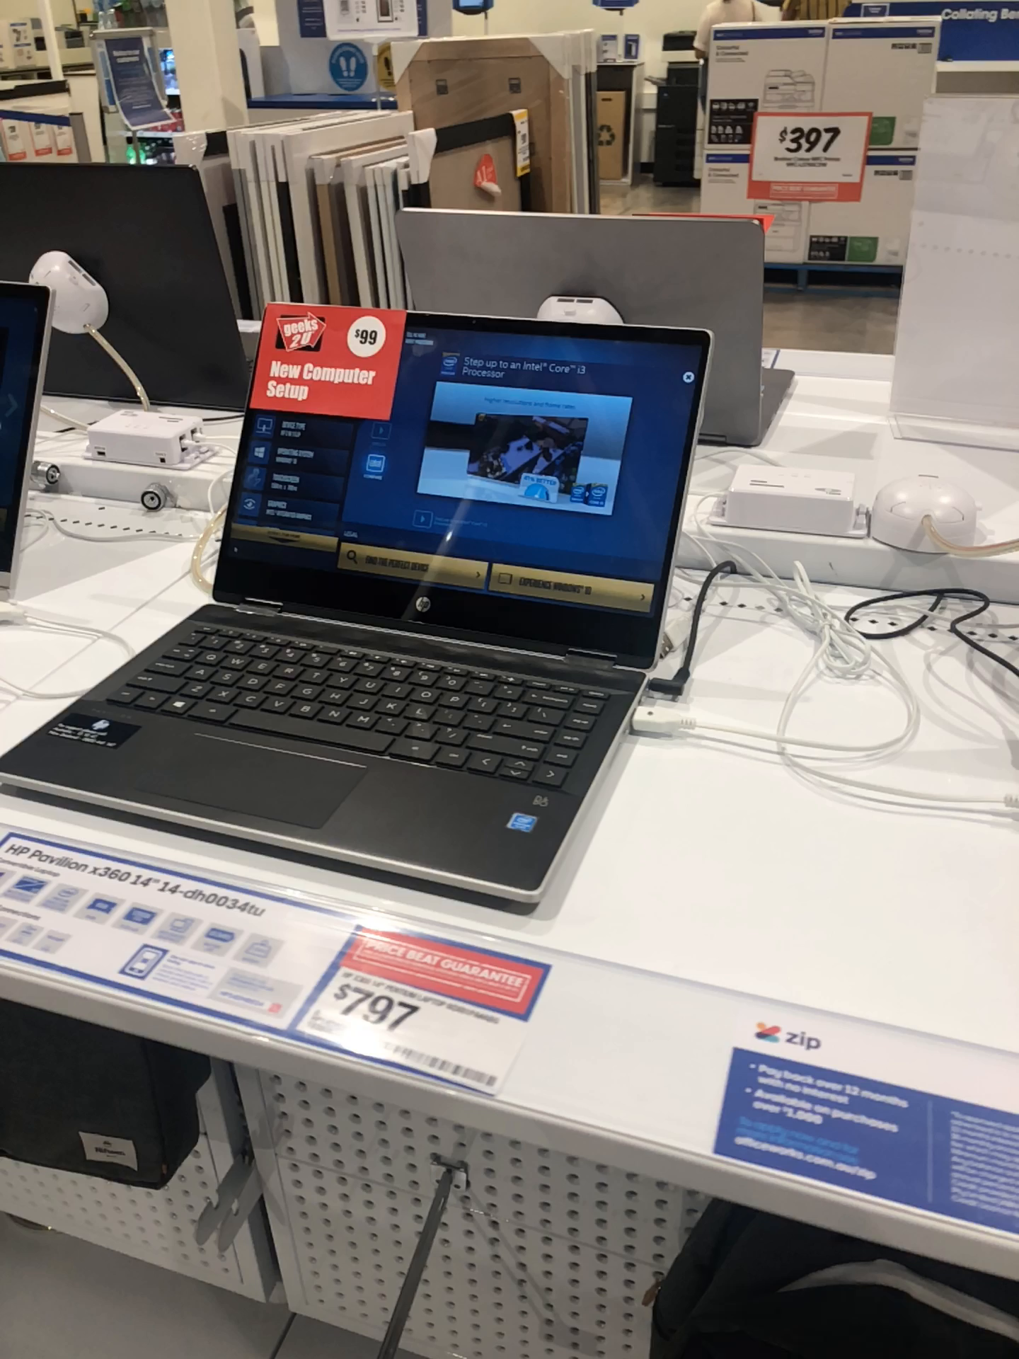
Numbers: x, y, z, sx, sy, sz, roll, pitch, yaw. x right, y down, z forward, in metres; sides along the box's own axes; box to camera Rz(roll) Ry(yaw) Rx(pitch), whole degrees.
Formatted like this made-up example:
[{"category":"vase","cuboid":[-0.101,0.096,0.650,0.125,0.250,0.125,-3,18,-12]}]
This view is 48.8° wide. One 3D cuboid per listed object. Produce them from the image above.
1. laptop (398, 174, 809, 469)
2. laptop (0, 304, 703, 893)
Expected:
[{"category":"laptop","cuboid":[0.111,-0.377,1.123,0.306,0.199,0.358,10,31,18]},{"category":"laptop","cuboid":[-0.082,-0.084,0.654,0.315,0.169,0.340,9,32,17]}]
